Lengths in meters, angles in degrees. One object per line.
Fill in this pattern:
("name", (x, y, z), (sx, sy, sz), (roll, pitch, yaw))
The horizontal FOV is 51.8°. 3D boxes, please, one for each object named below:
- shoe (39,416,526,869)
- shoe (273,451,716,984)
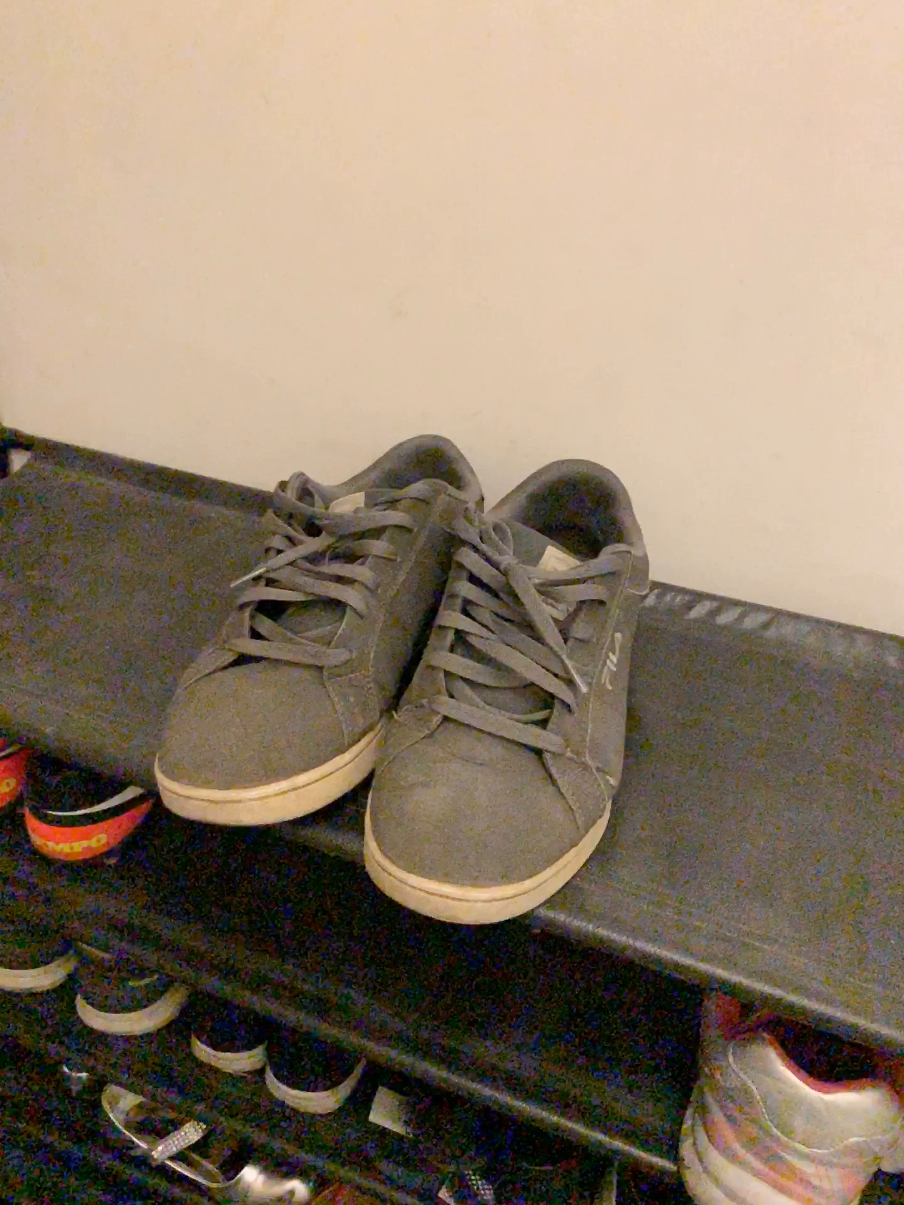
("shoe", (-0.063, -0.004, 0.492), (0.120, 0.079, 0.272), (12, 36, 19))
("shoe", (0.044, 0.027, 0.480), (0.120, 0.079, 0.303), (12, 36, 19))
